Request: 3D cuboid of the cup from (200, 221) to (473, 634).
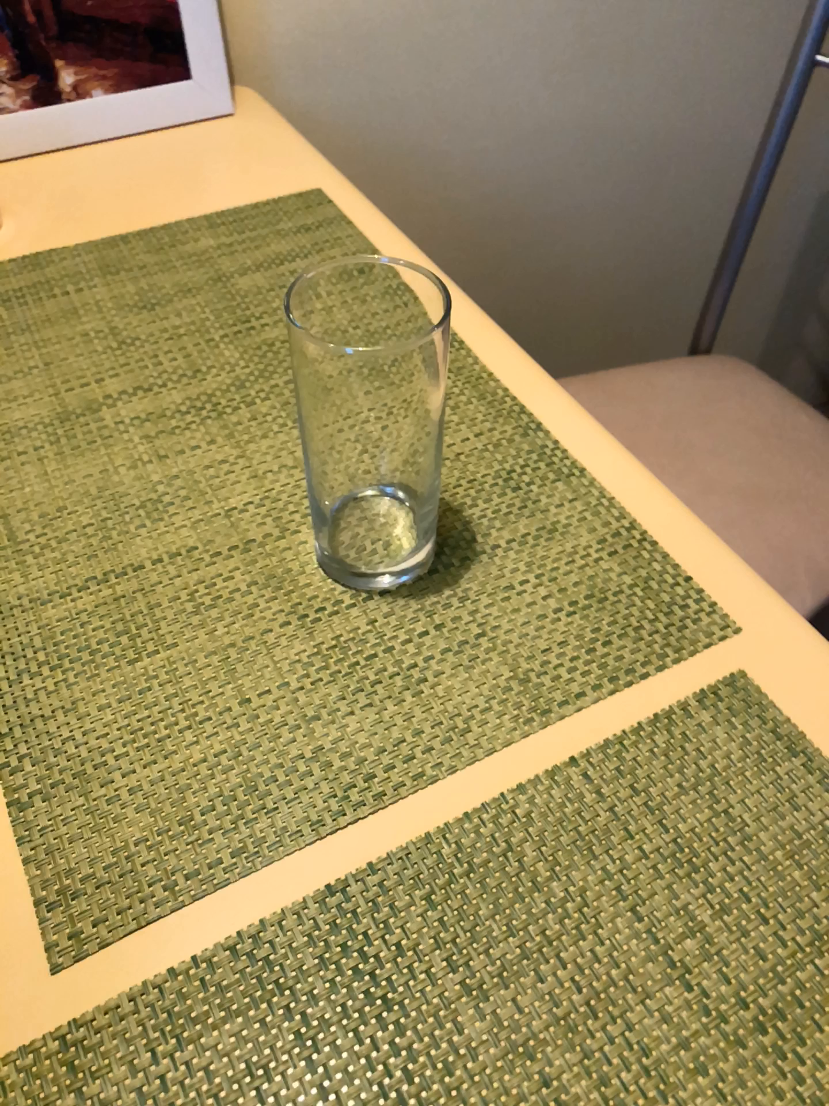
[{"bbox_3d":[-0.030,-0.048,0.380,0.070,0.139,0.070,1,47,-1],"label":"cup"}]
